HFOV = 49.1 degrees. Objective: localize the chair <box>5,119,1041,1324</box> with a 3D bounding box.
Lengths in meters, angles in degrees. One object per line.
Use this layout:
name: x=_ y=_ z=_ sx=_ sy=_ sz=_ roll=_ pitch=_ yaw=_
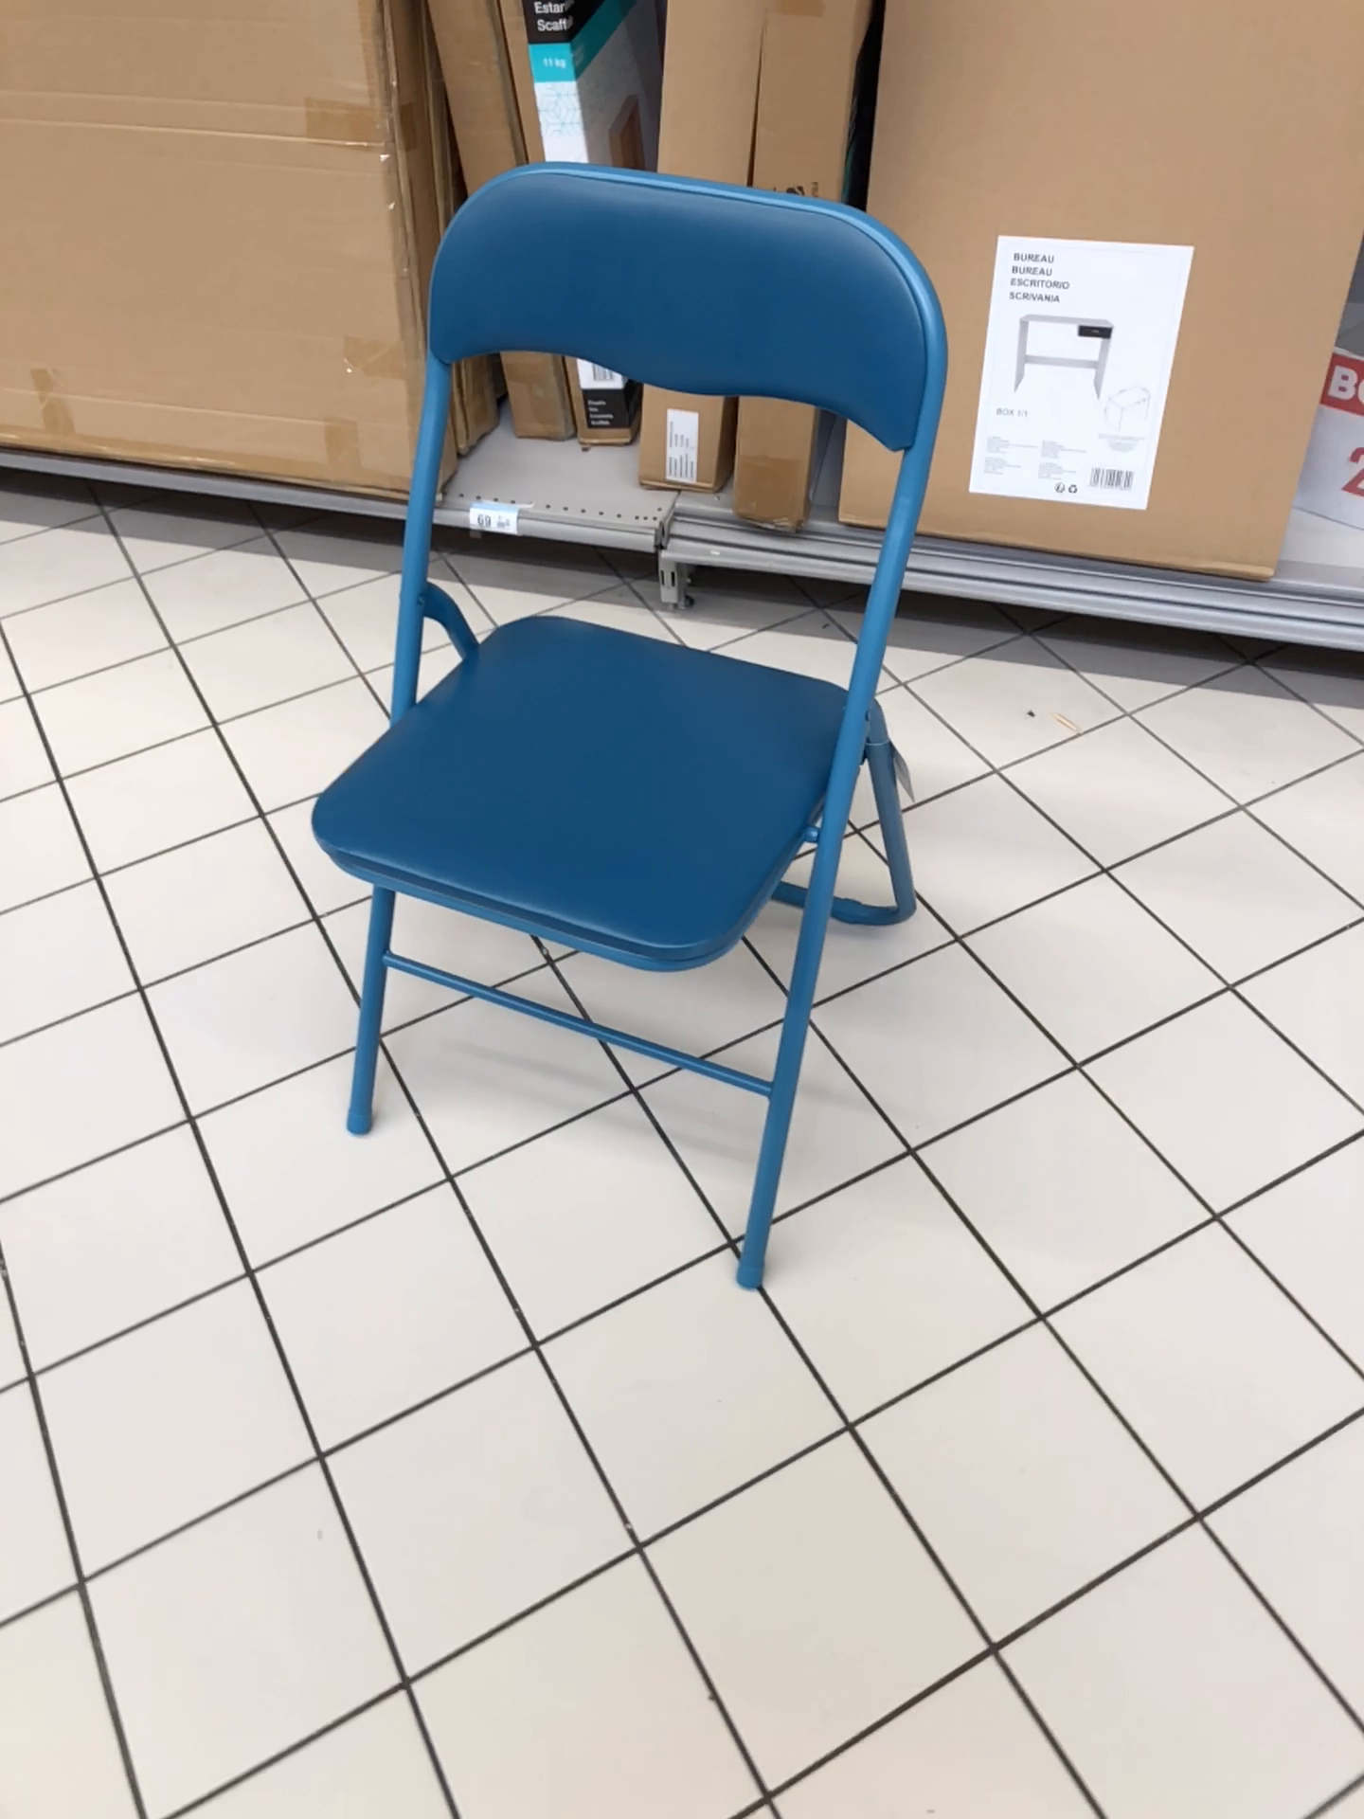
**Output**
chair: x=-0.065 y=-0.144 z=1.265 sx=0.500 sy=0.766 sz=0.503 roll=19 pitch=50 yaw=20
